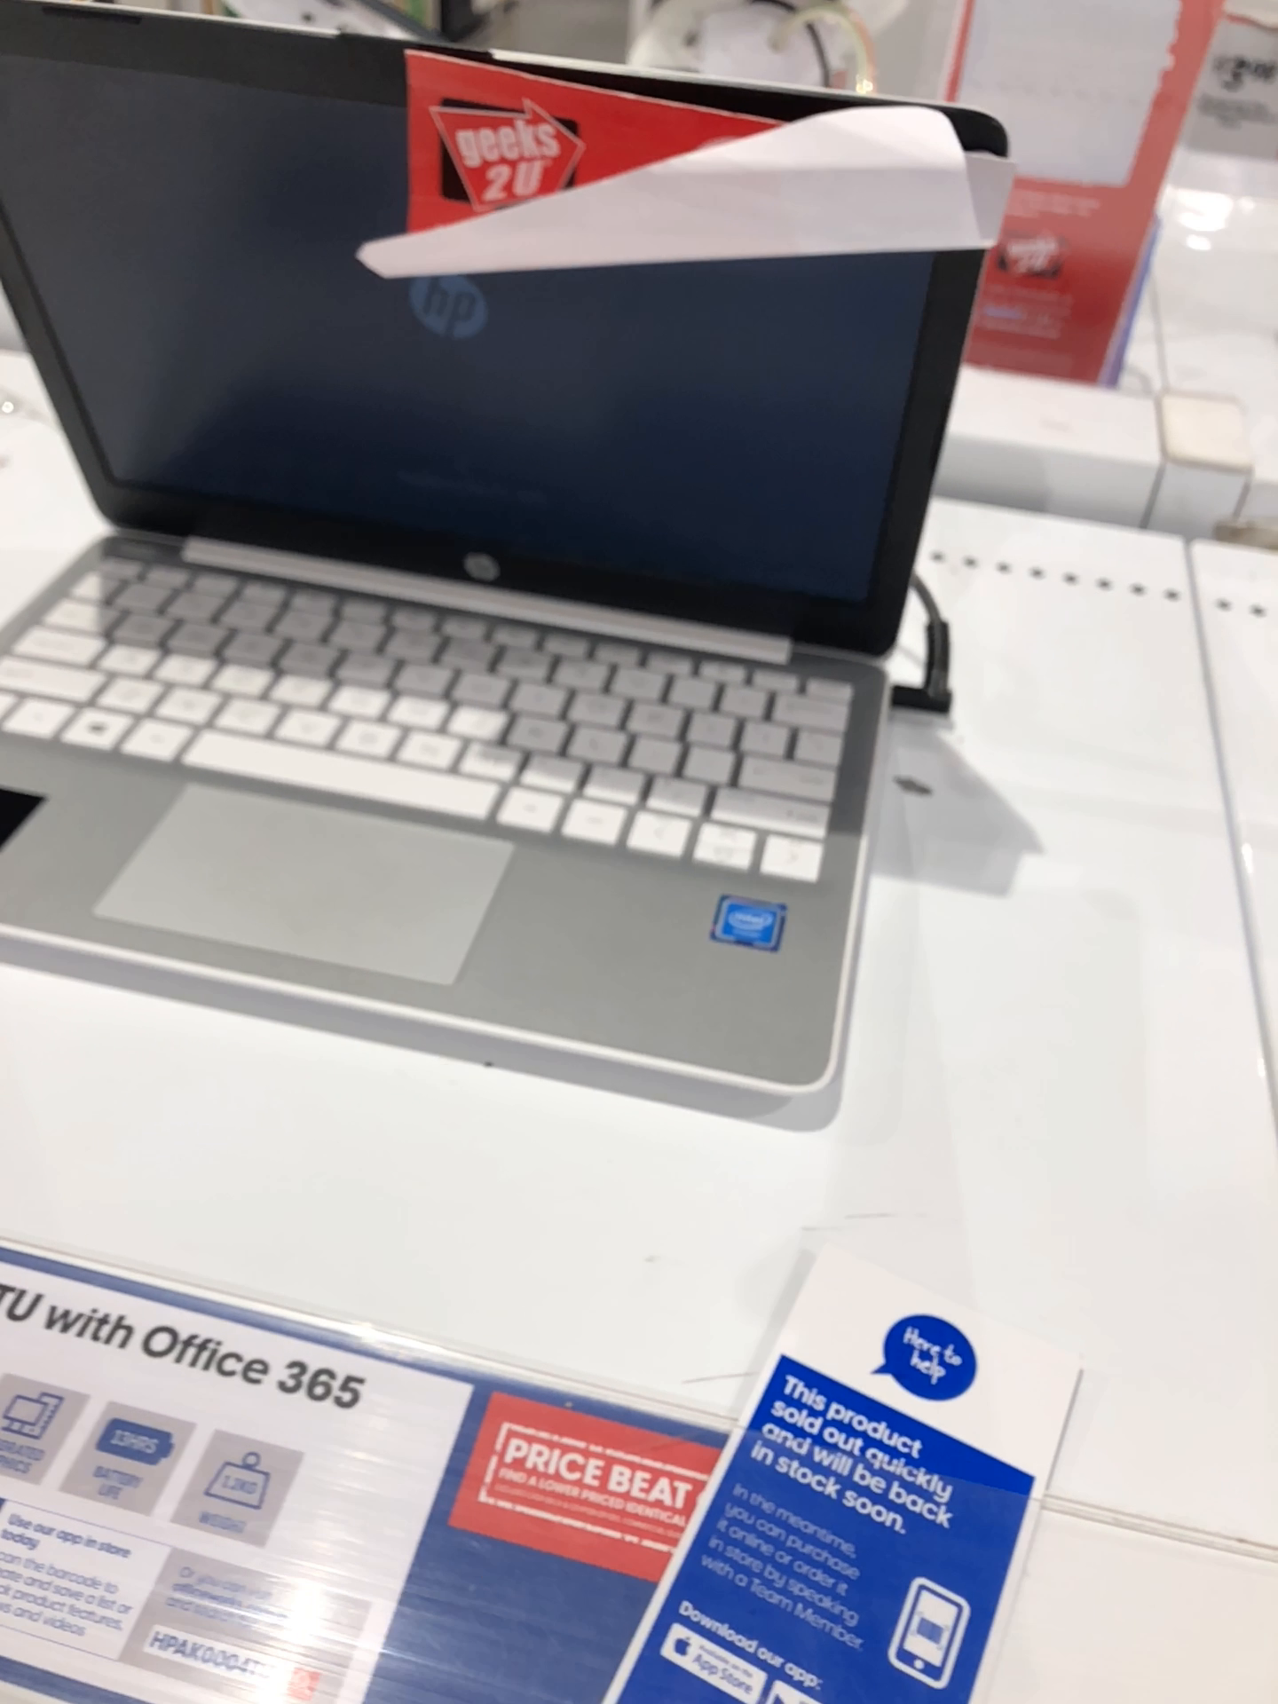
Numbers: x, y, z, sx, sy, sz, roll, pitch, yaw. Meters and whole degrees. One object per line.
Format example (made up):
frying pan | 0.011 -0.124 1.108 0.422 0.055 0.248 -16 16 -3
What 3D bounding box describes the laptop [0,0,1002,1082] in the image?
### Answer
laptop | -0.067 -0.095 0.359 0.273 0.173 0.184 10 41 6
